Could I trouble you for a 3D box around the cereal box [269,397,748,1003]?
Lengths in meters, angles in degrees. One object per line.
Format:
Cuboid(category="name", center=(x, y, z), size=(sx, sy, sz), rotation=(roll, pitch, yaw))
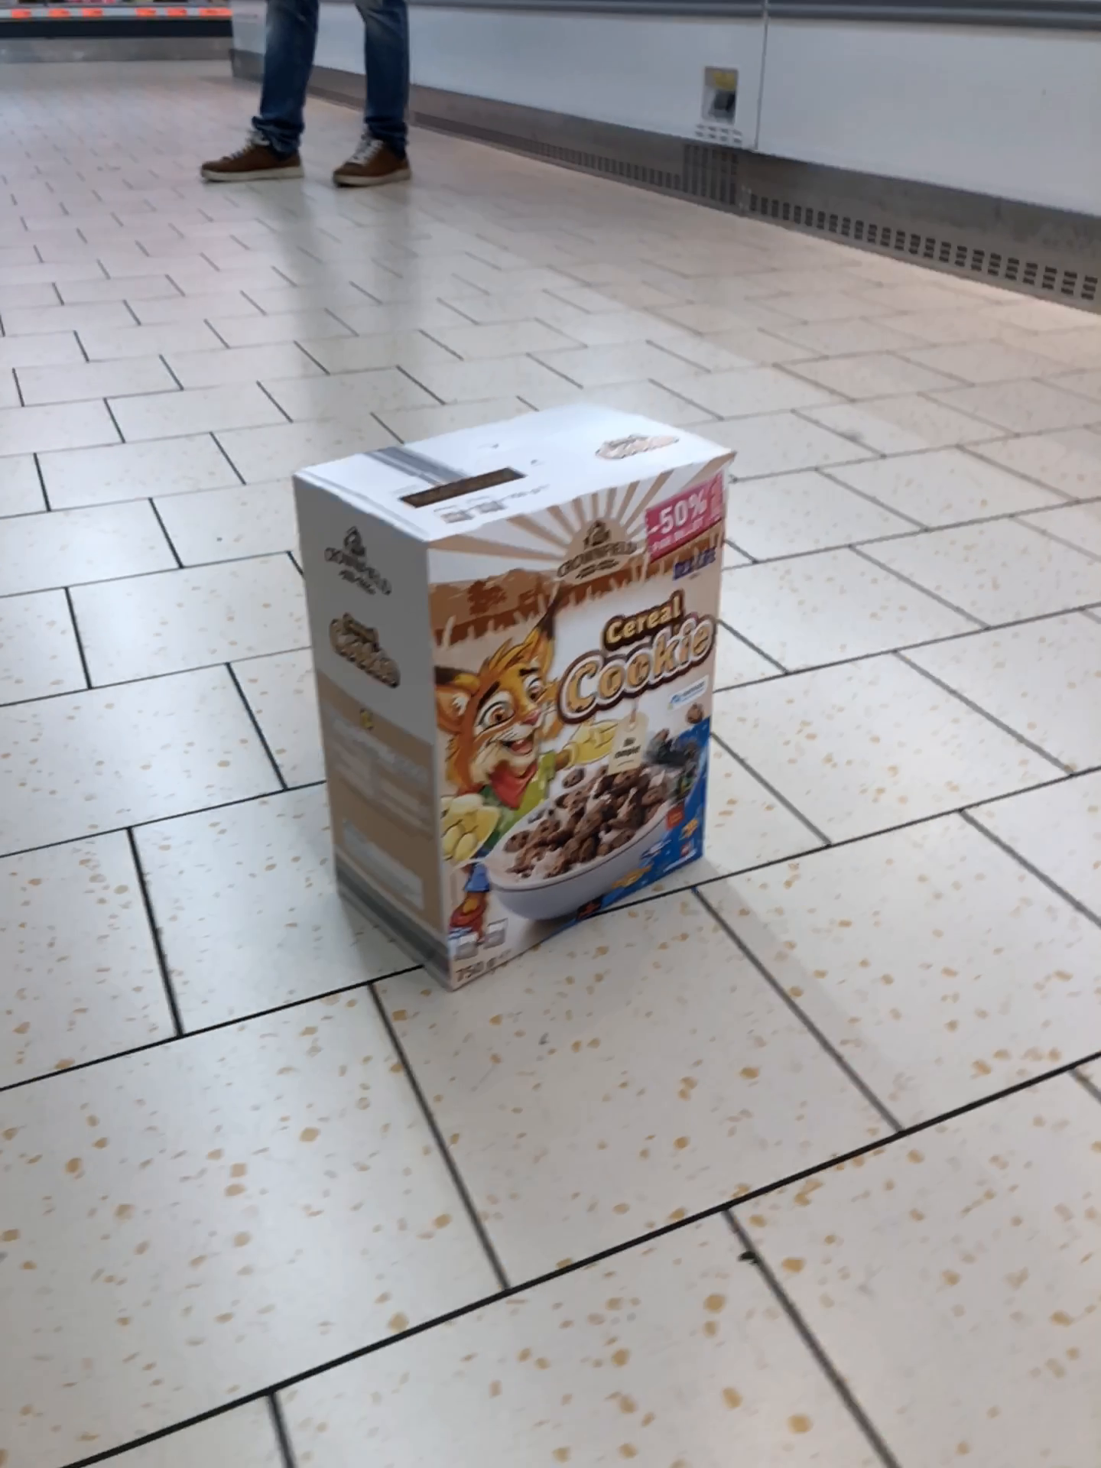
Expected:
Cuboid(category="cereal box", center=(-0.018, -0.027, 0.649), size=(0.201, 0.249, 0.120), rotation=(-22, 37, -33))
